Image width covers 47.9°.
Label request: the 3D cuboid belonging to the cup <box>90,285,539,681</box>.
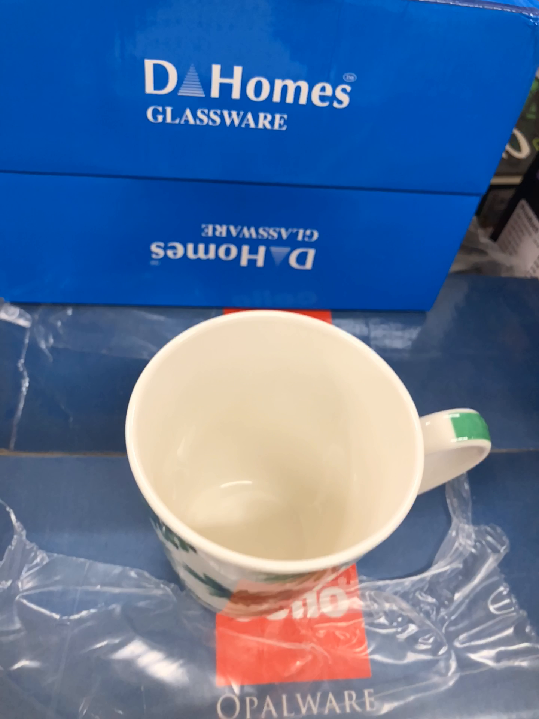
[{"bbox_3d":[0.010,0.045,0.212,0.120,0.100,0.080,-10,58,-15],"label":"cup"}]
